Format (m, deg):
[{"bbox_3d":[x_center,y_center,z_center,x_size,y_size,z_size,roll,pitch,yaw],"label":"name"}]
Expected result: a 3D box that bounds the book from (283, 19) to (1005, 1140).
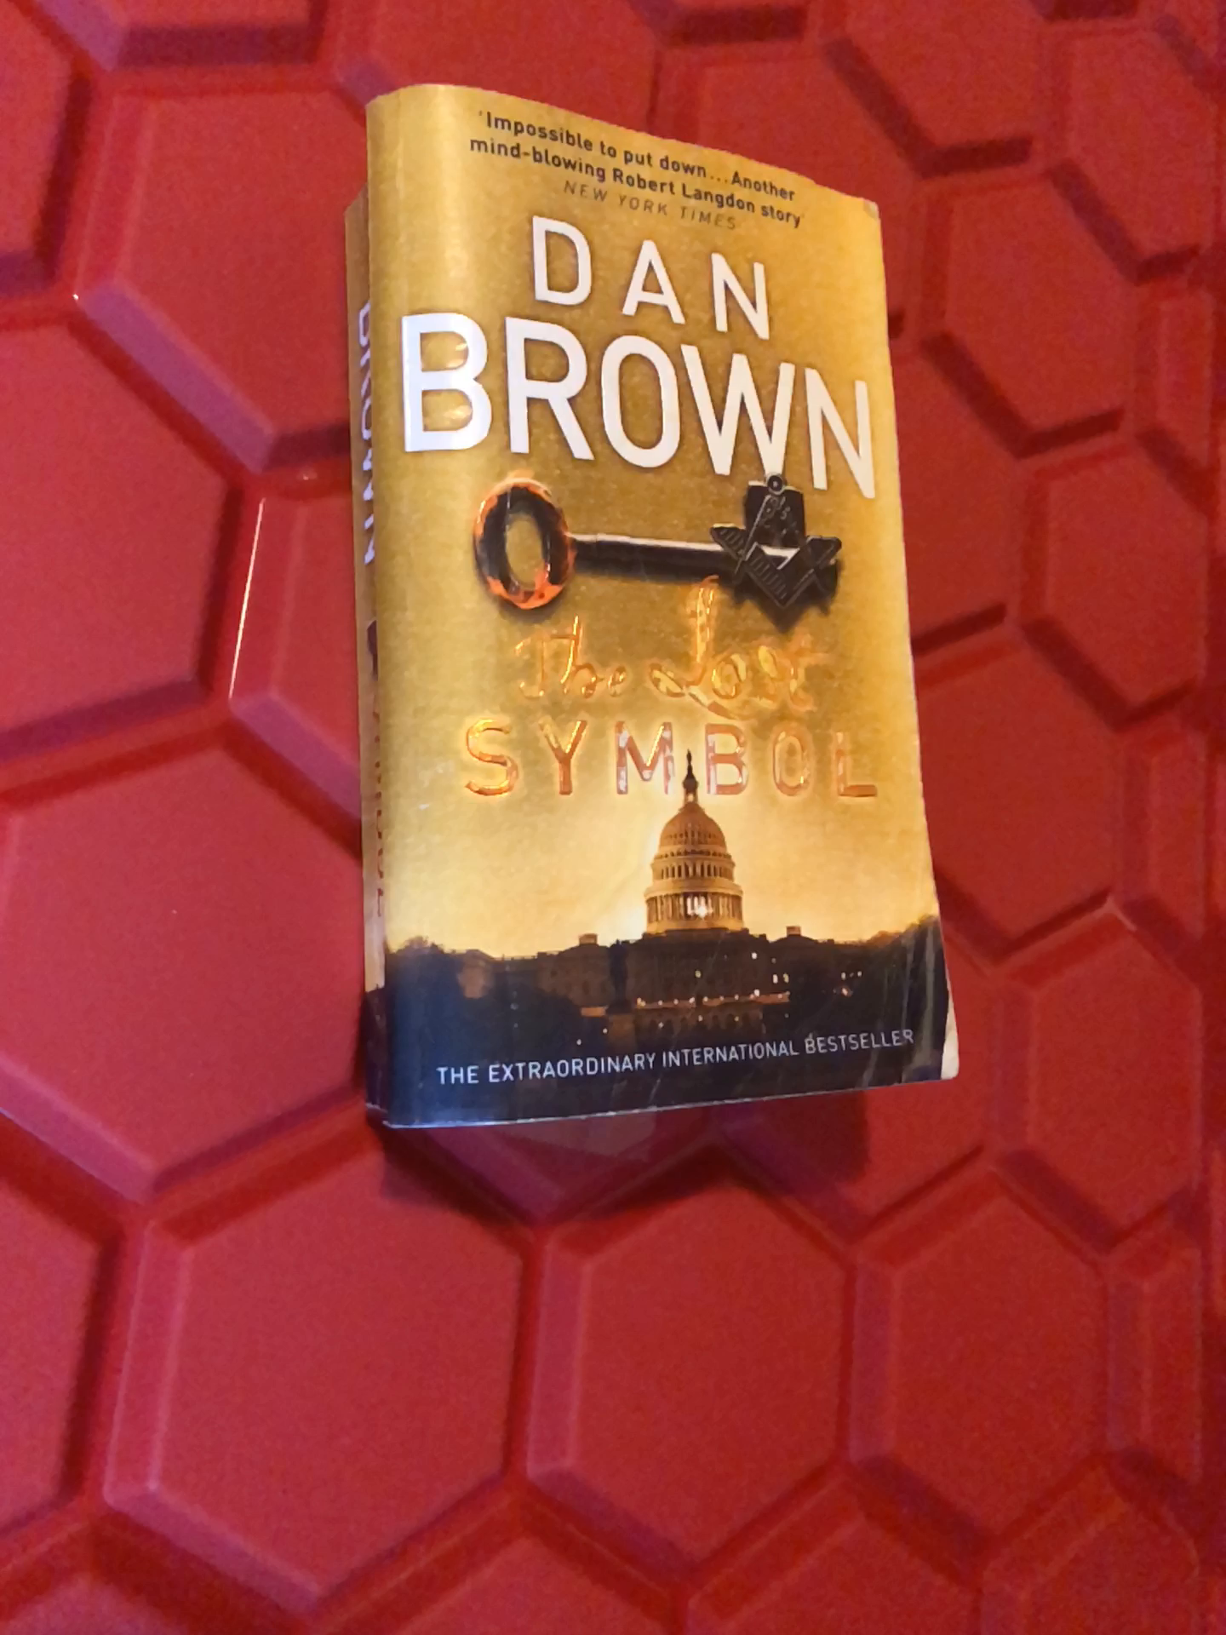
[{"bbox_3d":[0.005,-0.038,0.267,0.122,0.051,0.183,1,82,-28],"label":"book"}]
